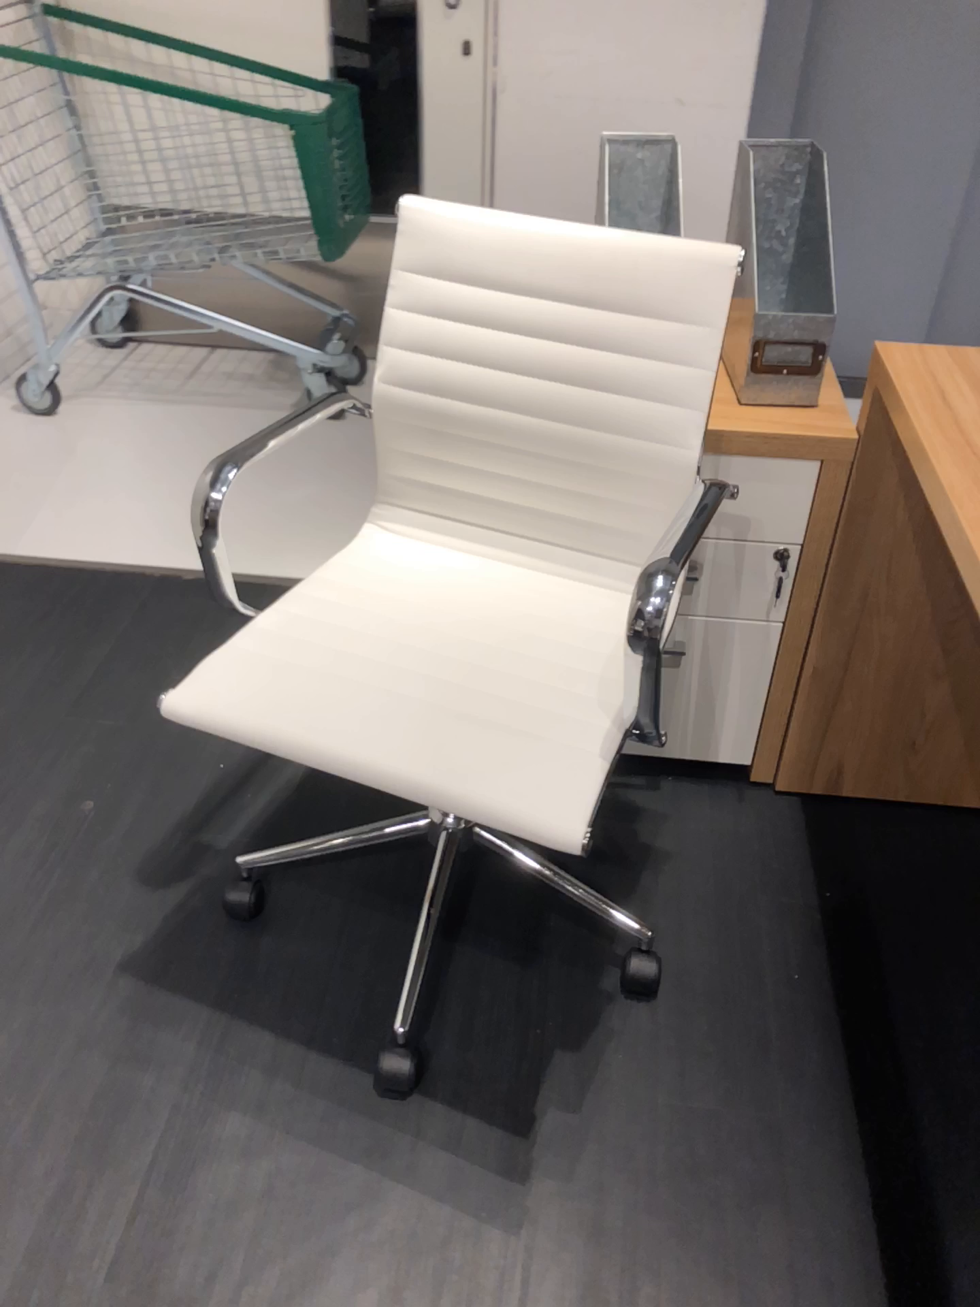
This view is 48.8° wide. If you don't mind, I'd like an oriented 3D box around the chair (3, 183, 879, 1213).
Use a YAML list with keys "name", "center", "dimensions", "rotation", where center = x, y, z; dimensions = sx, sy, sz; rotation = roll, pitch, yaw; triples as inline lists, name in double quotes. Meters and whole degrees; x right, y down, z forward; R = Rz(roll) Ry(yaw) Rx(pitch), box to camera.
- name: "chair"
  center: [0.006, 0.006, 1.427]
  dimensions: [0.651, 0.952, 0.765]
  rotation: [17, 39, 20]
